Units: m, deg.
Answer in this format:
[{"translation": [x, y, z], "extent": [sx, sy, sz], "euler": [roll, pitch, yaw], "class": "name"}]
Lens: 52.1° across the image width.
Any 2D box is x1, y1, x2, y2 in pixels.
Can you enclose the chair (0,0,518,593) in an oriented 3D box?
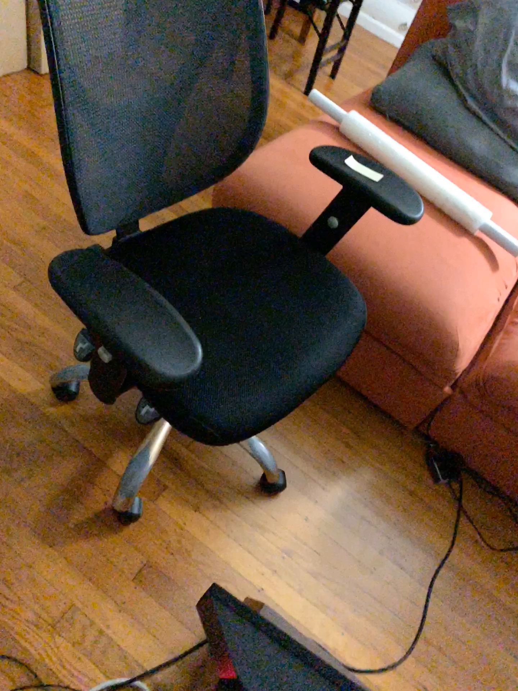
[{"translation": [-0.070, -0.172, 1.000], "extent": [0.661, 0.976, 0.642], "euler": [41, 50, 19], "class": "chair"}]
